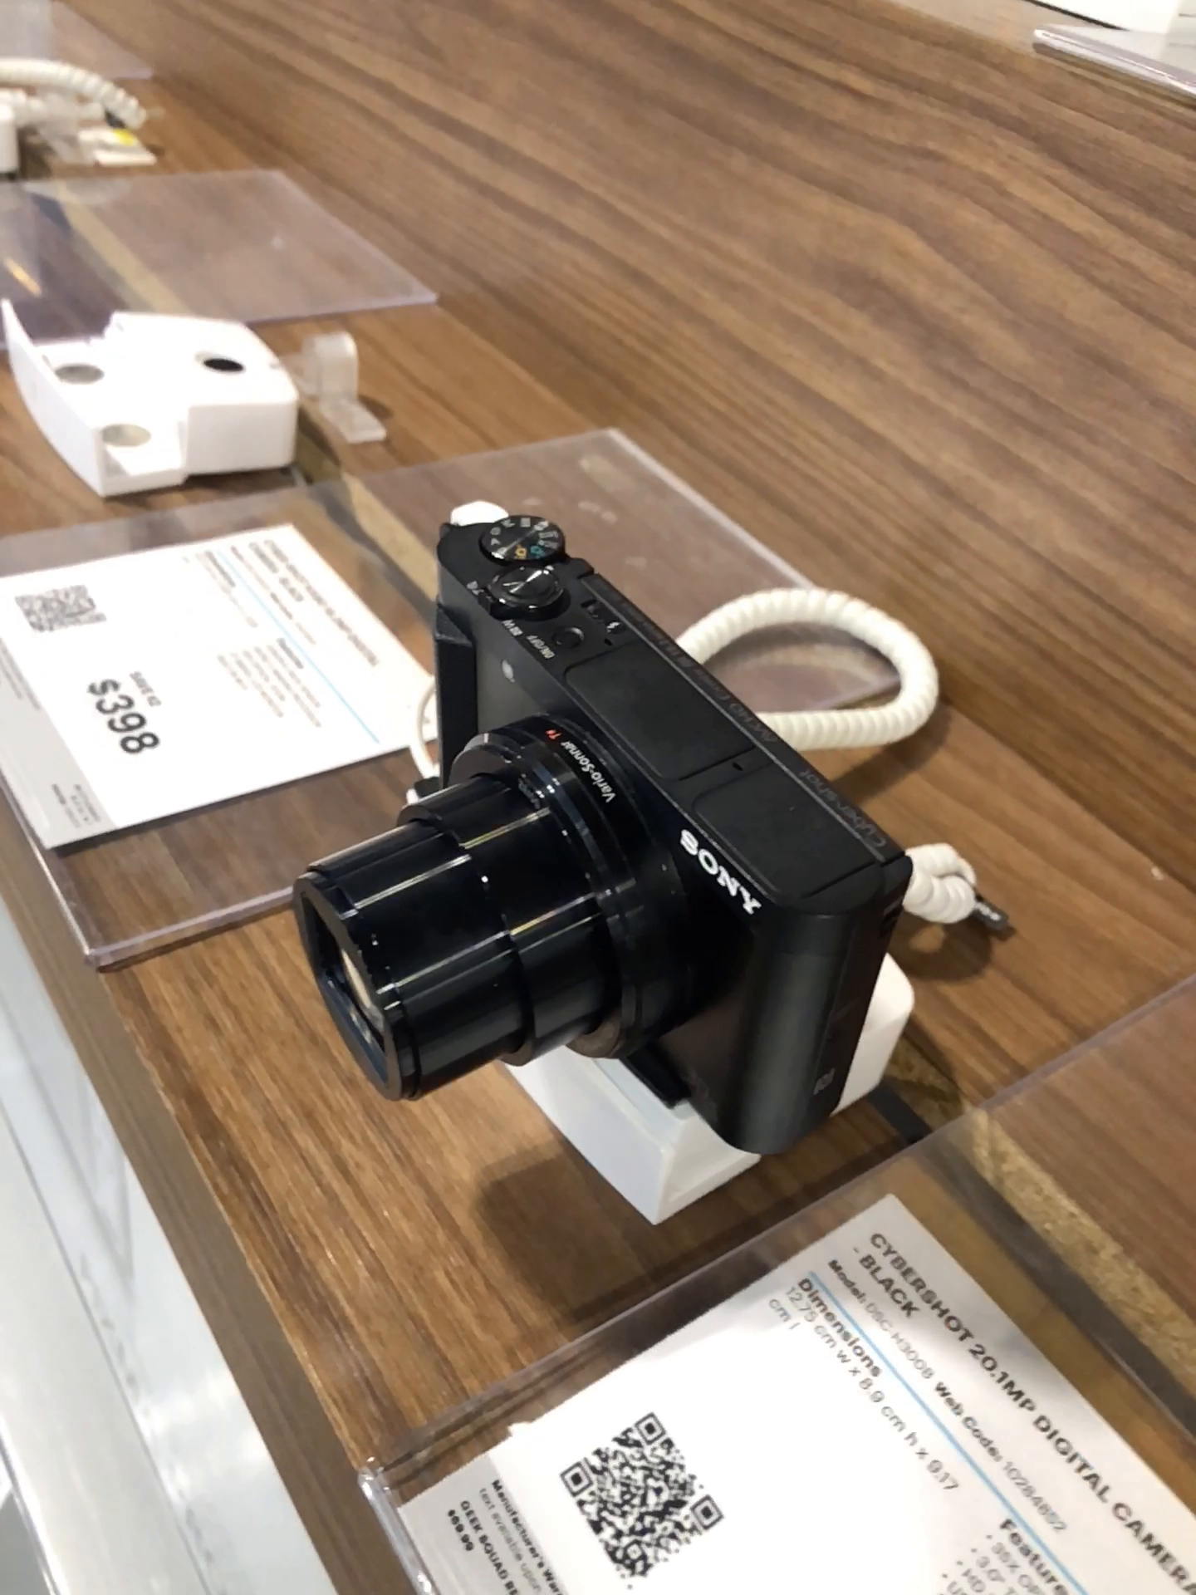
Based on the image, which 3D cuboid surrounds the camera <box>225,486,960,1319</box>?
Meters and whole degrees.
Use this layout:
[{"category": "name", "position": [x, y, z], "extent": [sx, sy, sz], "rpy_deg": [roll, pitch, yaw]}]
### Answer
[{"category": "camera", "position": [-0.010, 0.009, 0.211], "extent": [0.060, 0.070, 0.101], "rpy_deg": [-17, 46, -31]}]
